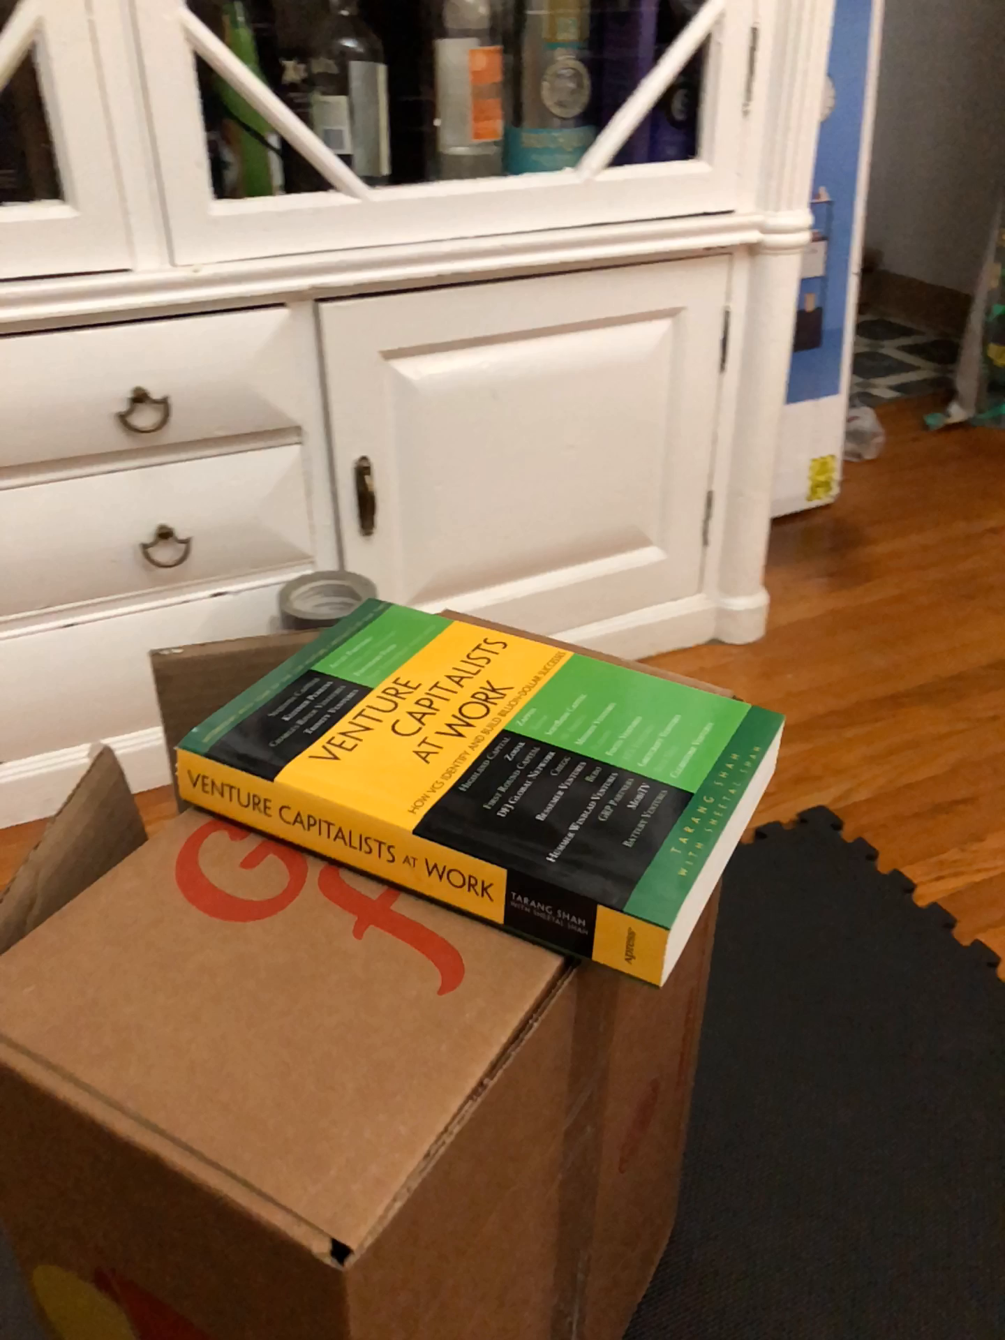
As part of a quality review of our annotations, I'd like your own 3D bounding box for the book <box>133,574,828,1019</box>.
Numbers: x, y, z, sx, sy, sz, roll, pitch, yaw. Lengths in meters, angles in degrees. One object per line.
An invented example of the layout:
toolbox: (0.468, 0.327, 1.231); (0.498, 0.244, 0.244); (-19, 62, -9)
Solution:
book: (-0.007, 0.036, 0.495); (0.260, 0.040, 0.161); (16, 35, 23)
